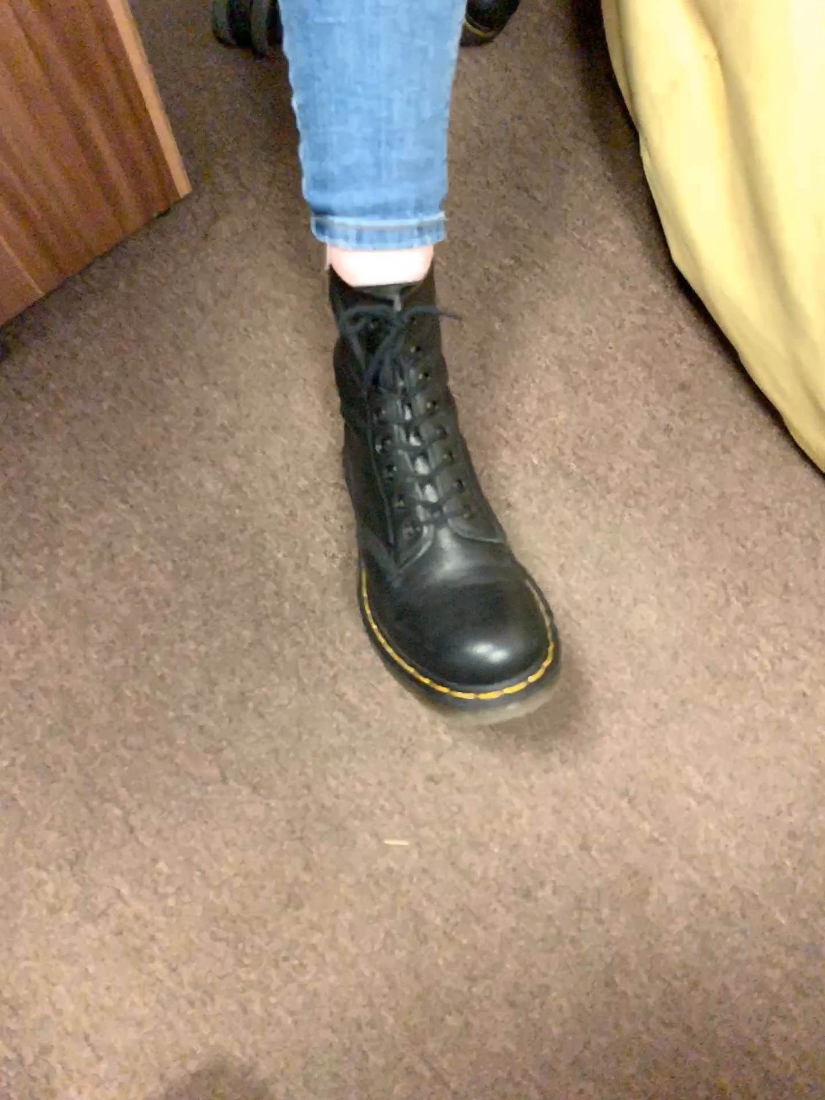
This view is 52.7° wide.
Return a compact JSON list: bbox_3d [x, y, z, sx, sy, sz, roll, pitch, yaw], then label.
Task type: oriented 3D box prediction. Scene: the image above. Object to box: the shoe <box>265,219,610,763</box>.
[{"bbox_3d":[0.000,-0.052,0.495,0.120,0.150,0.290,-12,46,-5],"label":"shoe"}]
